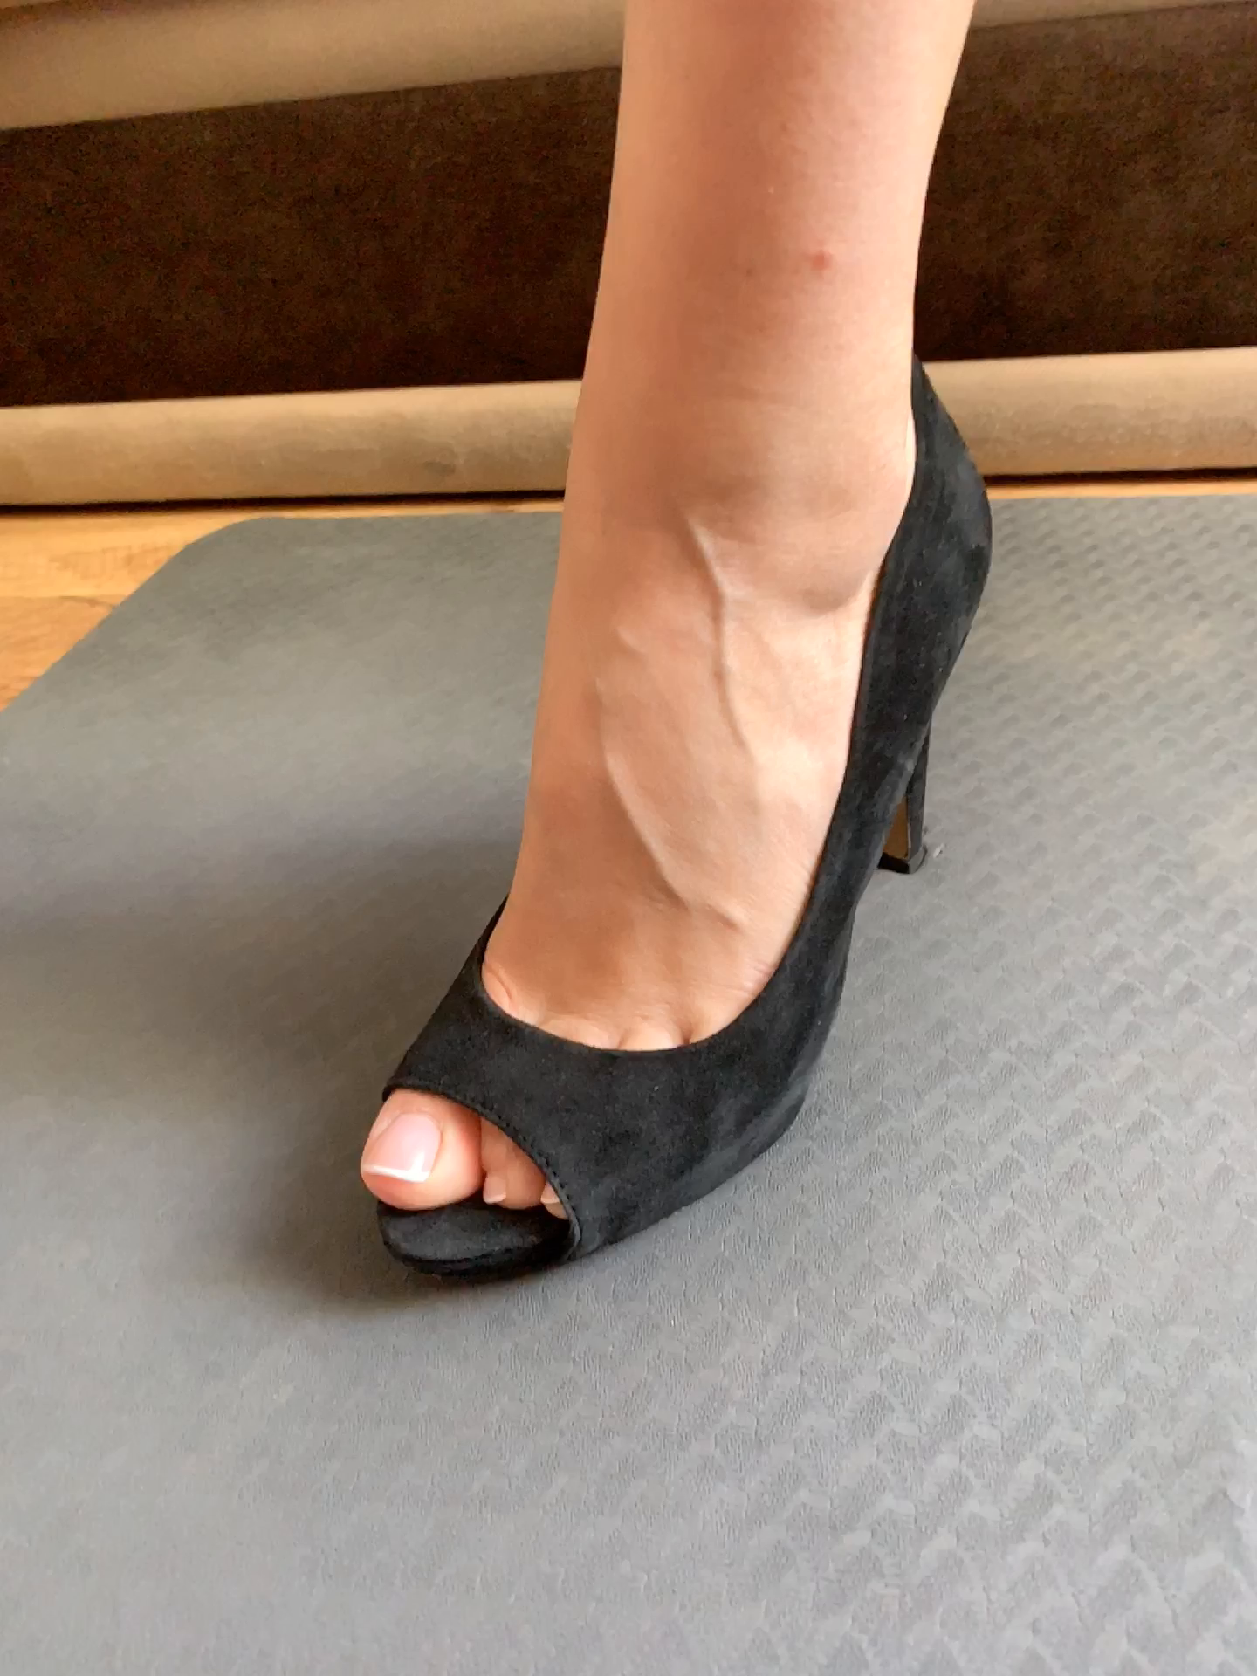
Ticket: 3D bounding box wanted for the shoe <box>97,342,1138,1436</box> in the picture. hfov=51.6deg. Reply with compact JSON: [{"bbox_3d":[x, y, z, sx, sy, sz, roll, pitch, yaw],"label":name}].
[{"bbox_3d":[0.018,-0.008,0.297,0.090,0.139,0.210,23,46,36],"label":"shoe"}]
